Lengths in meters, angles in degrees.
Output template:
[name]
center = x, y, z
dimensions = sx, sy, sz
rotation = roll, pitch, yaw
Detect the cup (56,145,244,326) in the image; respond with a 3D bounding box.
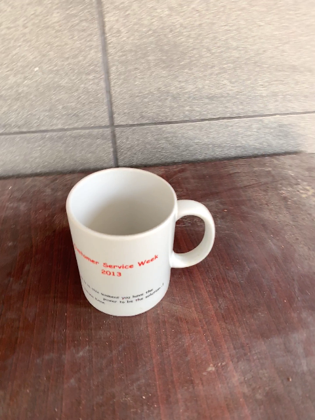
[cup]
center = -0.011, 0.018, 0.270
dimensions = 0.120, 0.100, 0.090
rotation = -8, 42, -9
